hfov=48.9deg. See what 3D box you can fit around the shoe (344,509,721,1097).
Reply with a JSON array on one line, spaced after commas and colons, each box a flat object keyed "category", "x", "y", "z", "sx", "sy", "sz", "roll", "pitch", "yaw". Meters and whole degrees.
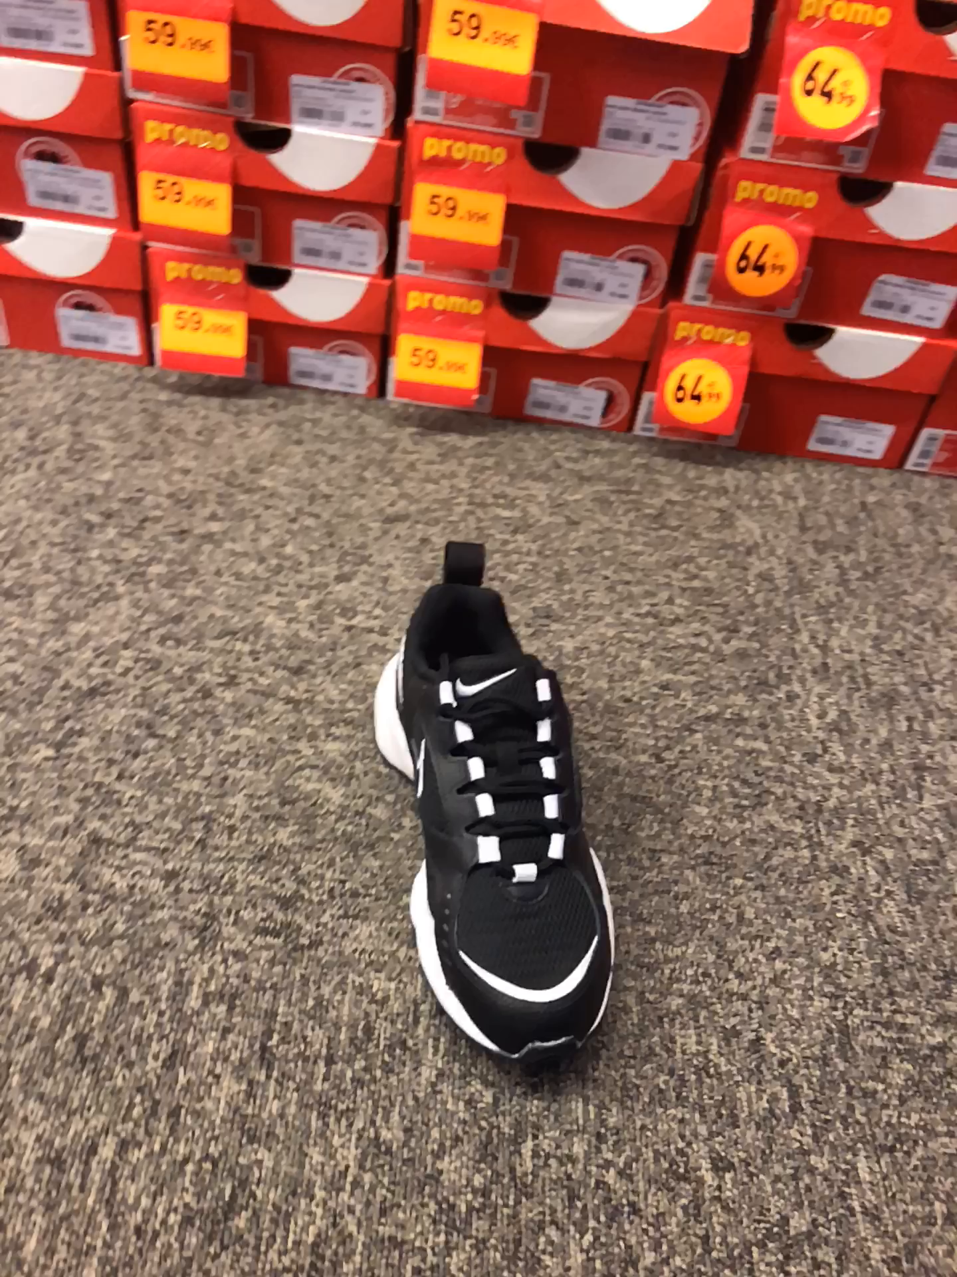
[{"category": "shoe", "x": 0.007, "y": 0.065, "z": 0.523, "sx": 0.104, "sy": 0.109, "sz": 0.261, "roll": -5, "pitch": 48, "yaw": -15}]
